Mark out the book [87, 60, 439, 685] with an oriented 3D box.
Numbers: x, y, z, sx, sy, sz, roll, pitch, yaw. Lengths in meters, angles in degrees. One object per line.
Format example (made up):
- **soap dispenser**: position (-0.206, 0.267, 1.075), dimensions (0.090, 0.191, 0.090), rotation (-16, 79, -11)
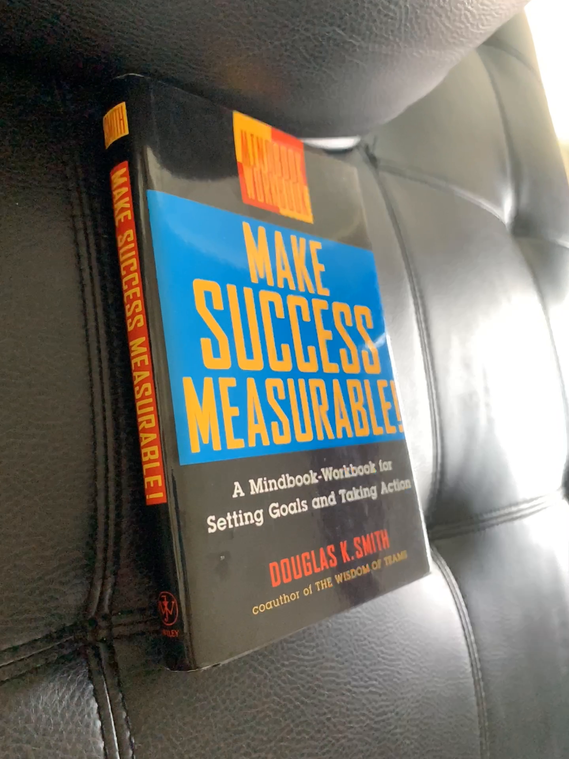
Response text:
- **book**: position (-0.002, -0.009, 0.293), dimensions (0.165, 0.030, 0.240), rotation (1, 77, -46)
